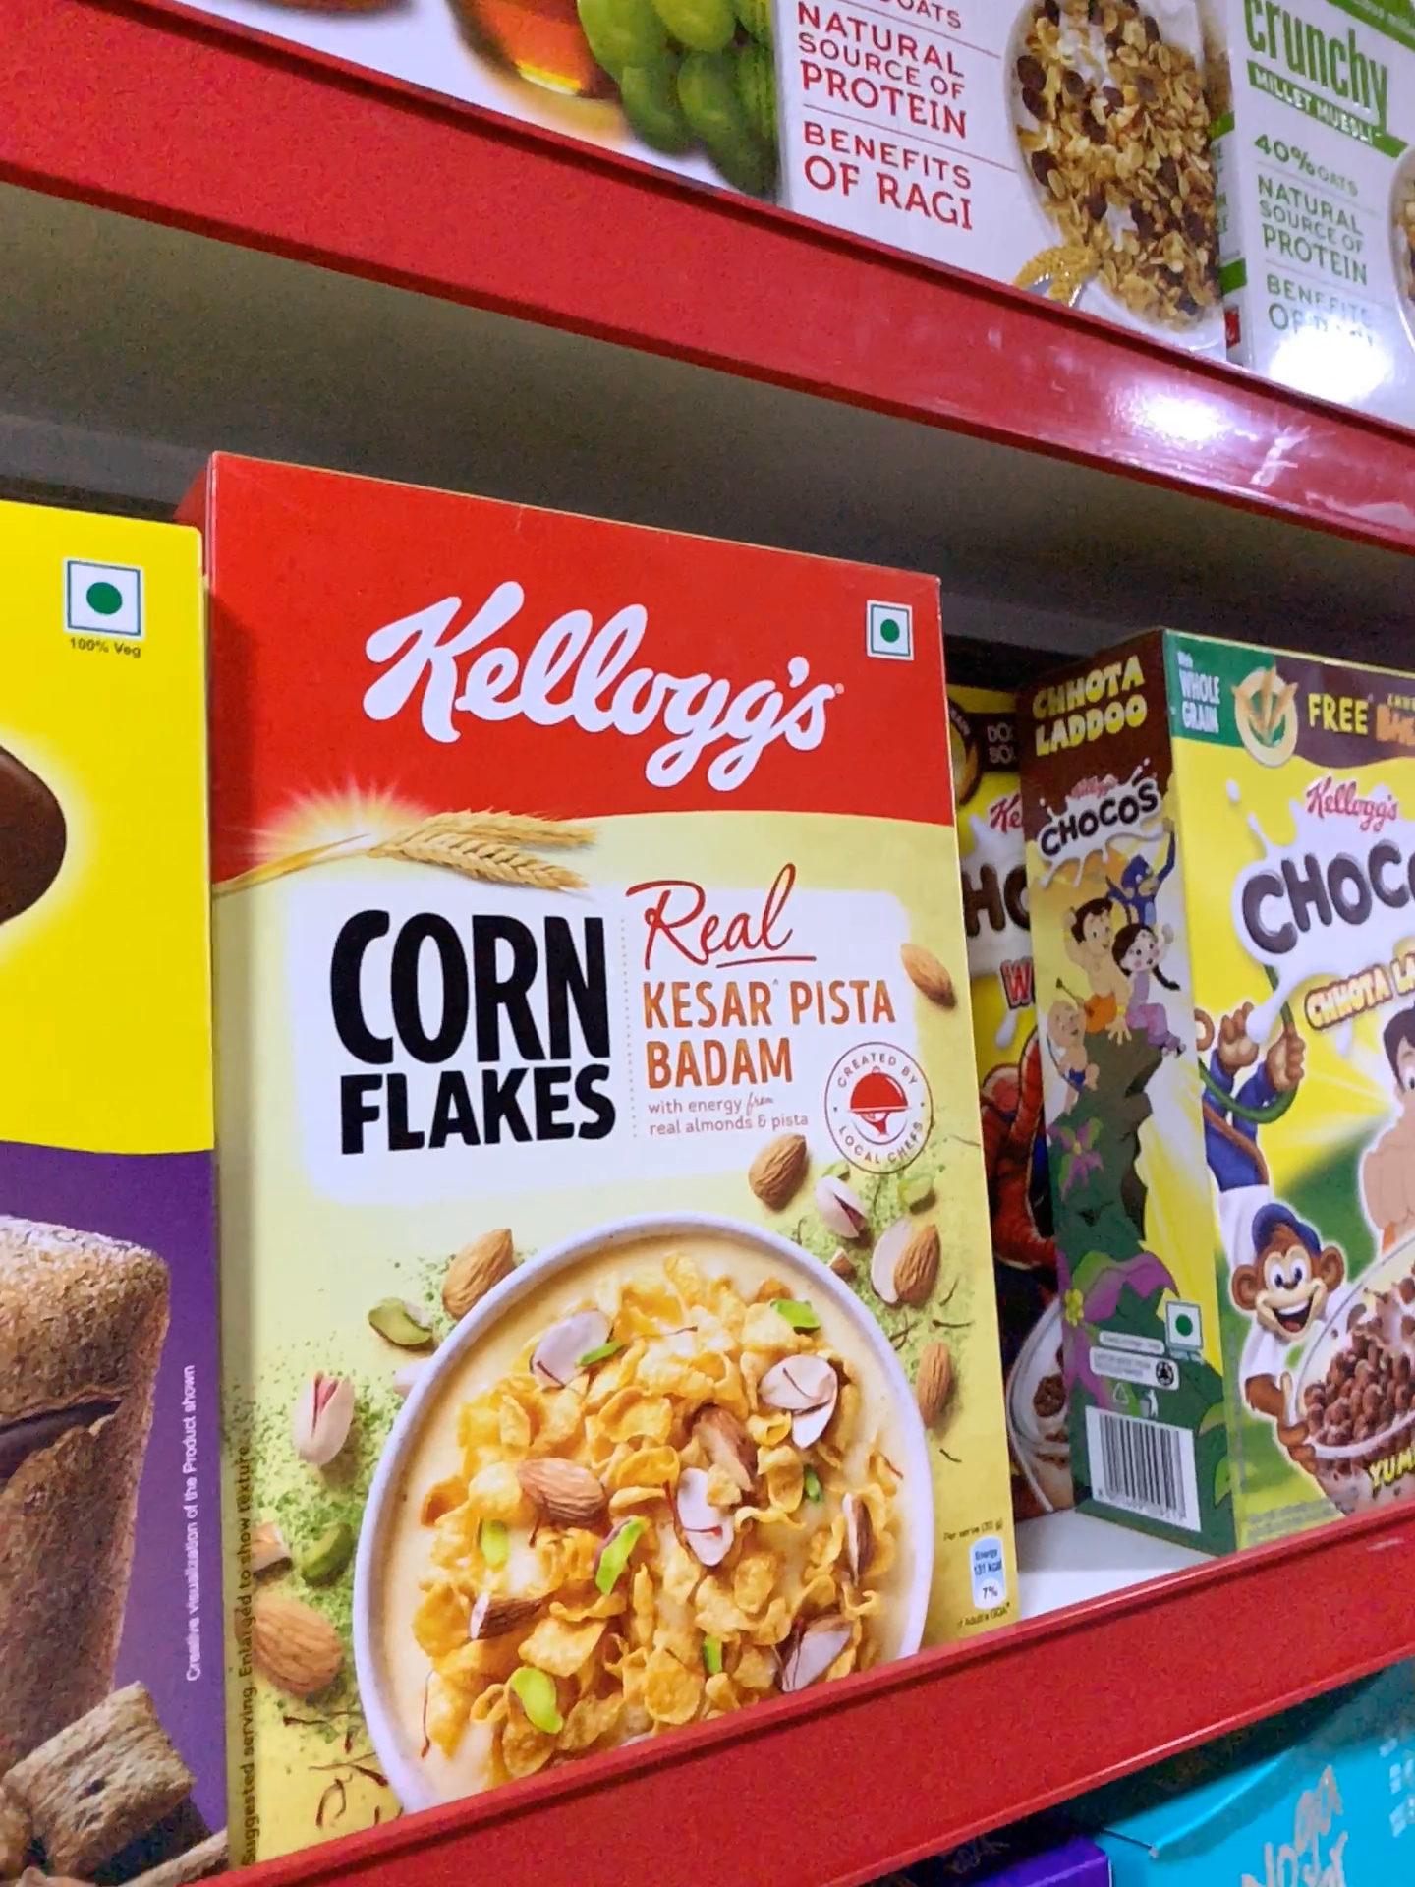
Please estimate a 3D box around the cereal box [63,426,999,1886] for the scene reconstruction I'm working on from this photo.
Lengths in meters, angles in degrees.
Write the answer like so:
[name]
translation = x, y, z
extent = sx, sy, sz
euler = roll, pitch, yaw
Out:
[cereal box]
translation = -0.037, 0.038, 0.320
extent = 0.180, 0.251, 0.070
euler = 1, -8, -31
